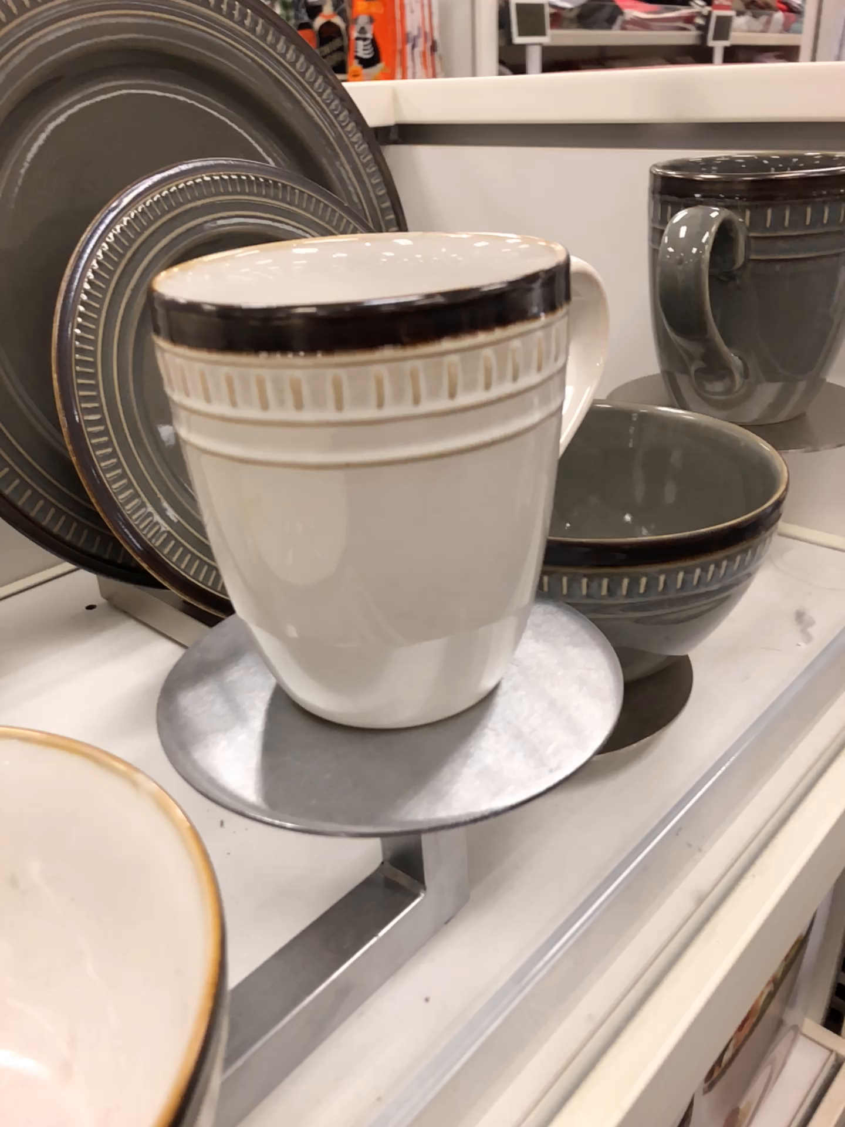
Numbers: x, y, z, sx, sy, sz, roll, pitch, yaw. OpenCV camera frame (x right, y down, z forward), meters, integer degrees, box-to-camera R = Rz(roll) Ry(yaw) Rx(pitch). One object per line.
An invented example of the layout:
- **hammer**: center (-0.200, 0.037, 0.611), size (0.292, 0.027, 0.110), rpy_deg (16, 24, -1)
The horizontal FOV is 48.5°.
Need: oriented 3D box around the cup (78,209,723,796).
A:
- **cup**: center (0.004, -0.031, 0.241), size (0.092, 0.097, 0.128), rpy_deg (16, 32, 33)
